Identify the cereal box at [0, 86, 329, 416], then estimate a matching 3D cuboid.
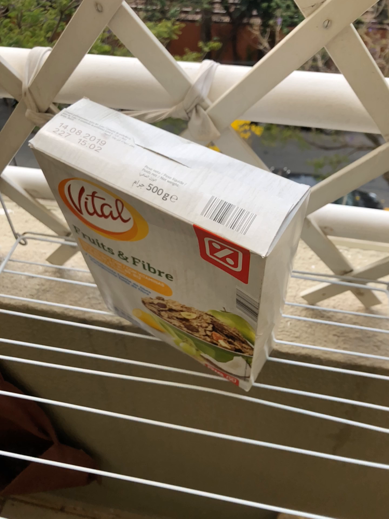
[{"bbox_3d":[-0.019,0.014,0.386,0.210,0.268,0.070,27,62,21],"label":"cereal box"}]
